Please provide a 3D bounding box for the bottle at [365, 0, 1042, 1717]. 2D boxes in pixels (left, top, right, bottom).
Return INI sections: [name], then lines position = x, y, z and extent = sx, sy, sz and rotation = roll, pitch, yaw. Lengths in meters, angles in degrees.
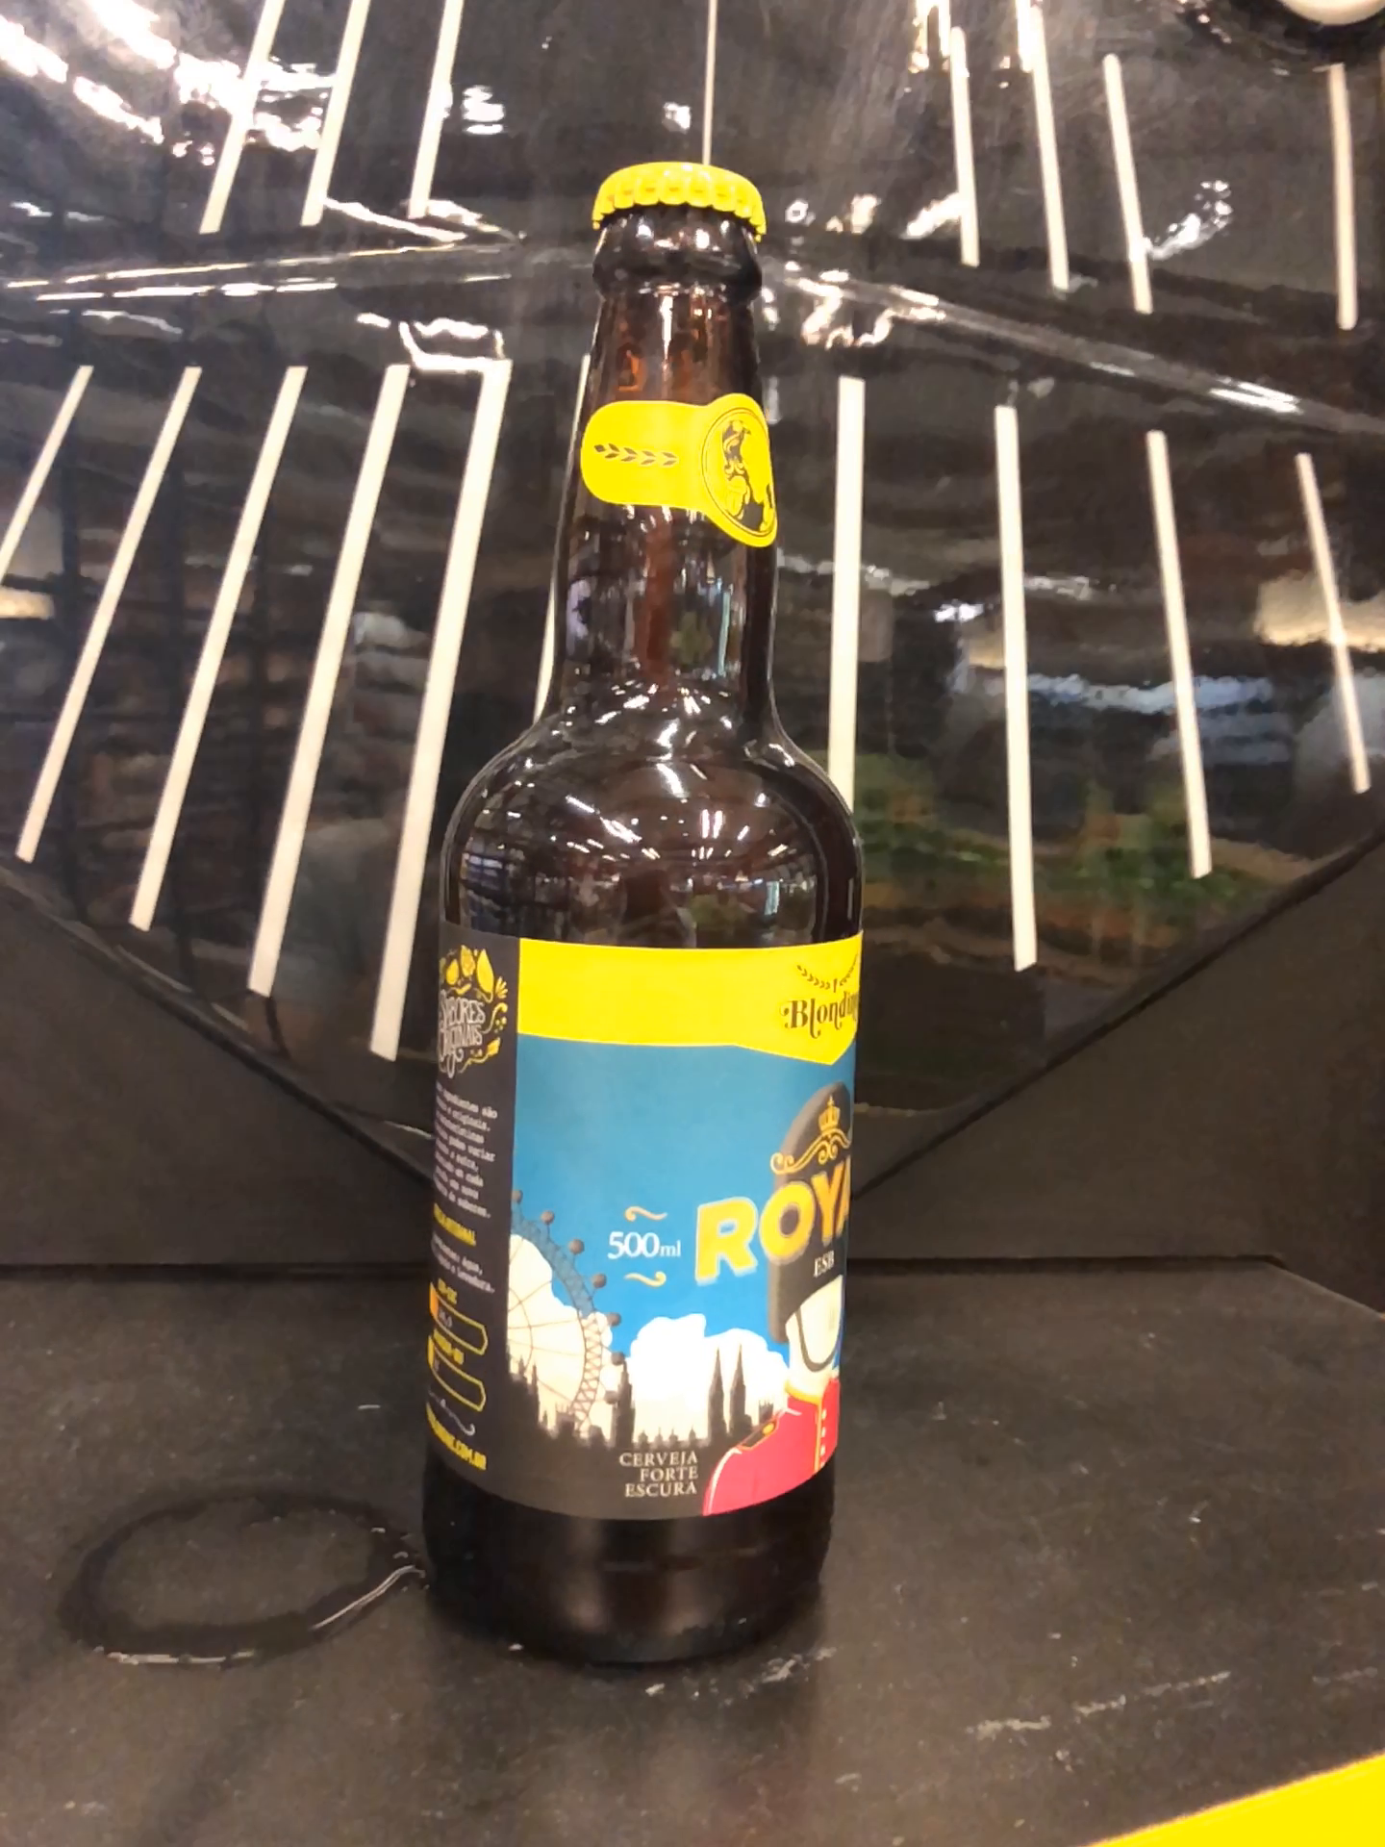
[bottle]
position = 0.003, -0.015, 0.255
extent = 0.070, 0.240, 0.080
rotation = 6, 6, 32
